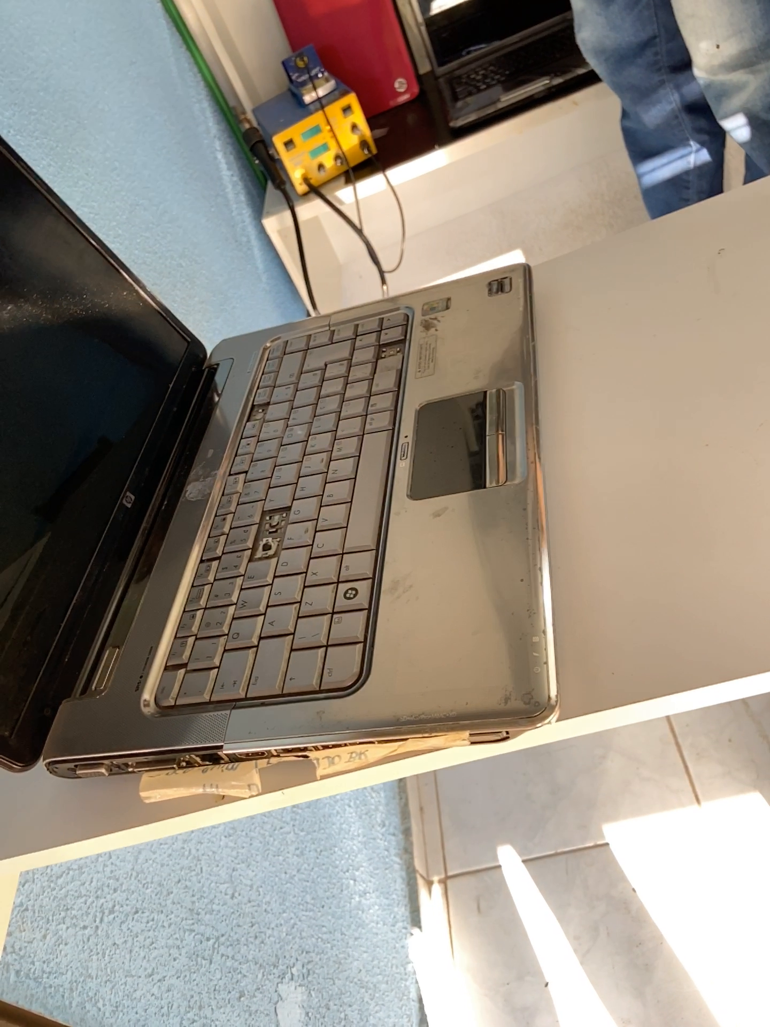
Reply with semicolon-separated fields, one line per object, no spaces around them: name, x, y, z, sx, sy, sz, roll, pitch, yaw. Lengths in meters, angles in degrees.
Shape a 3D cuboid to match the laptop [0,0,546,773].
laptop;-0.117;-0.097;0.409;0.328;0.233;0.353;-11;43;19
